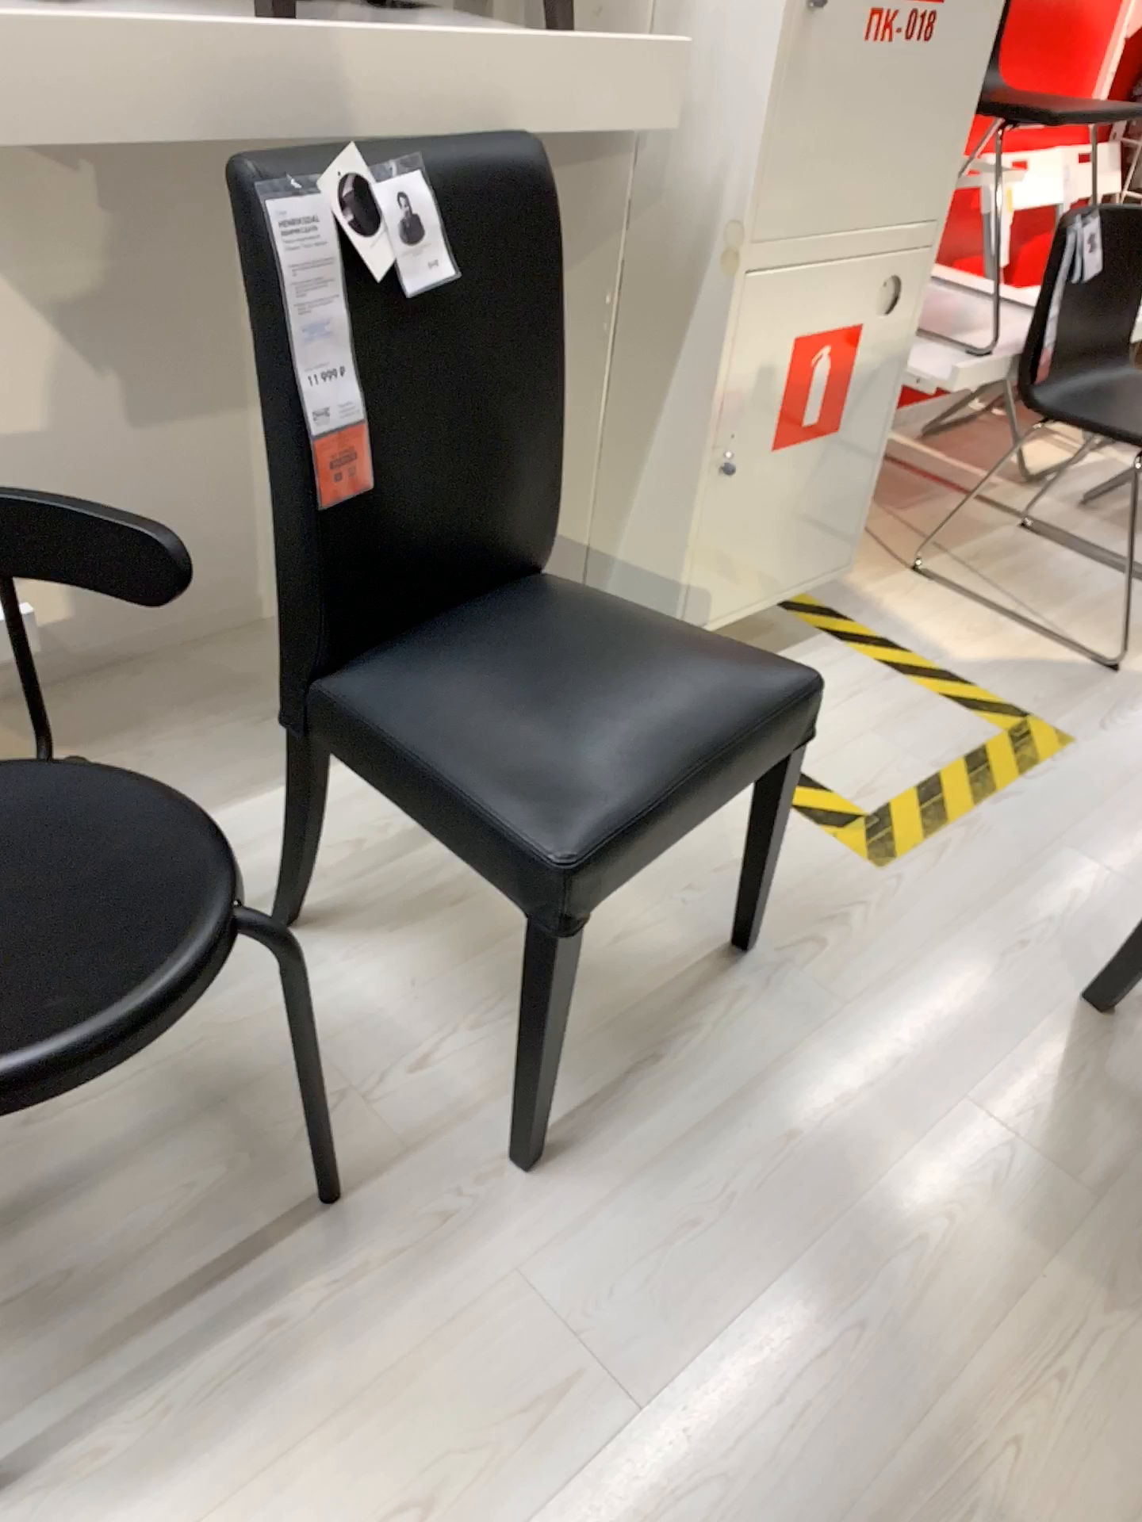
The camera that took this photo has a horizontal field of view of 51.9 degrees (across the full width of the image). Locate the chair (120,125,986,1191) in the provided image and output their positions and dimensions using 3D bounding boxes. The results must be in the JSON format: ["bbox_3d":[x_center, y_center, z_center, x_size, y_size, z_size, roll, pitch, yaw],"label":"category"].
[{"bbox_3d":[-0.047,-0.148,1.401,0.601,0.974,0.583,29,40,27],"label":"chair"}]
